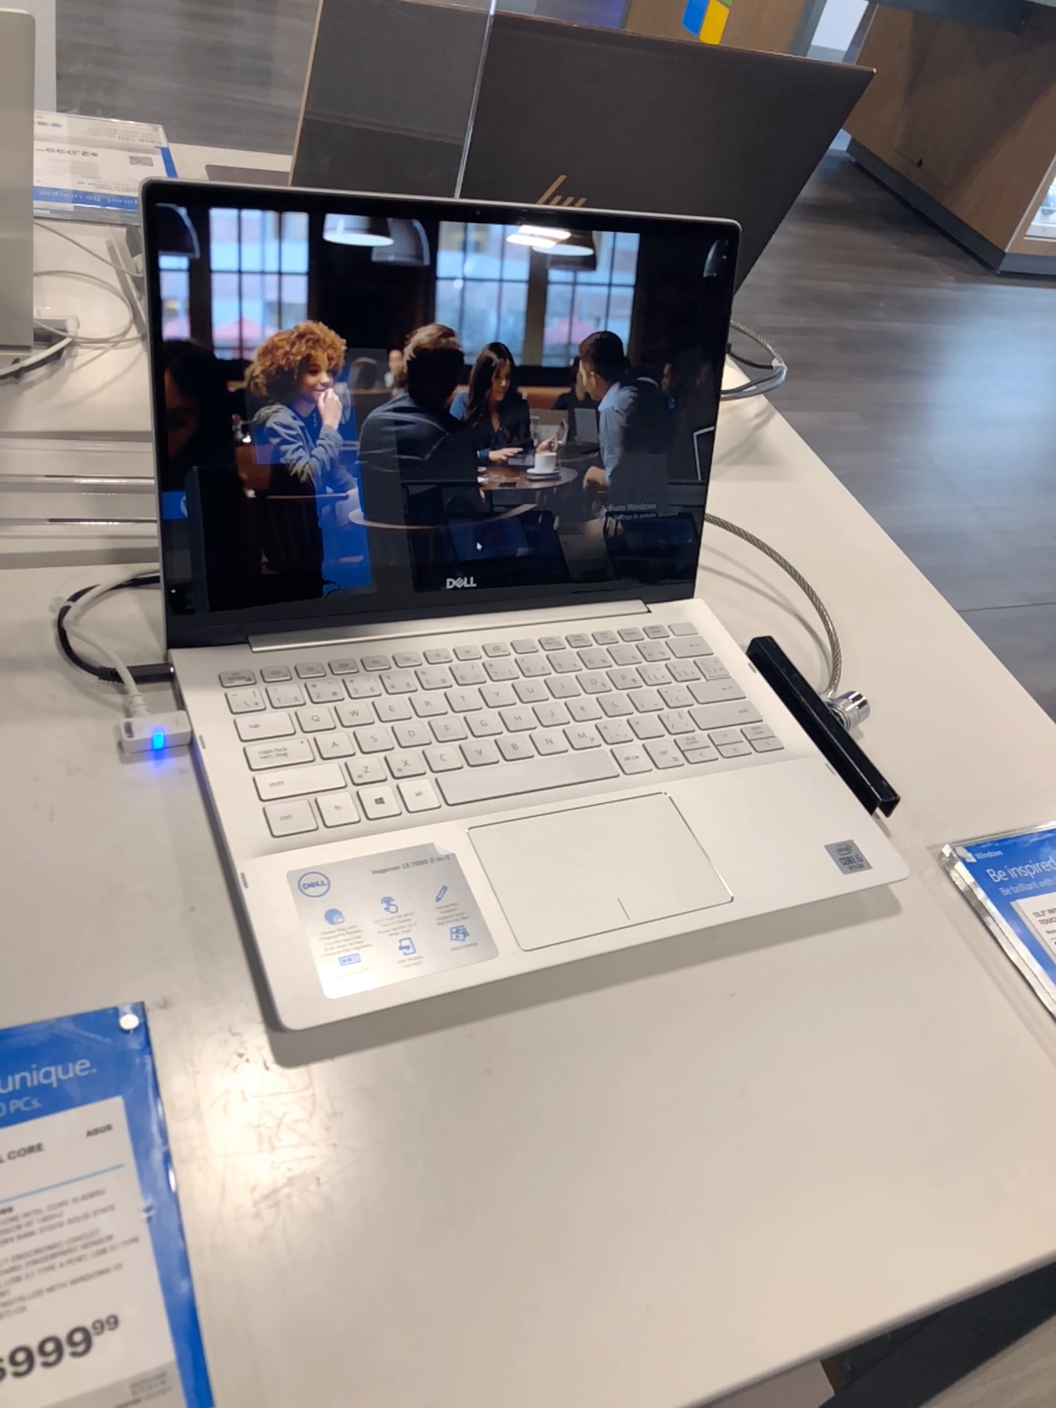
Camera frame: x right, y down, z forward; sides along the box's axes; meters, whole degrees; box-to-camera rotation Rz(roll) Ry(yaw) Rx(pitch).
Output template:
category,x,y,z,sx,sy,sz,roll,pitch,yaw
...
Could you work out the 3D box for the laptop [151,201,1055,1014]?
category,x,y,z,sx,sy,sz,roll,pitch,yaw
laptop,0.015,-0.059,0.493,0.286,0.186,0.265,-7,46,-26
